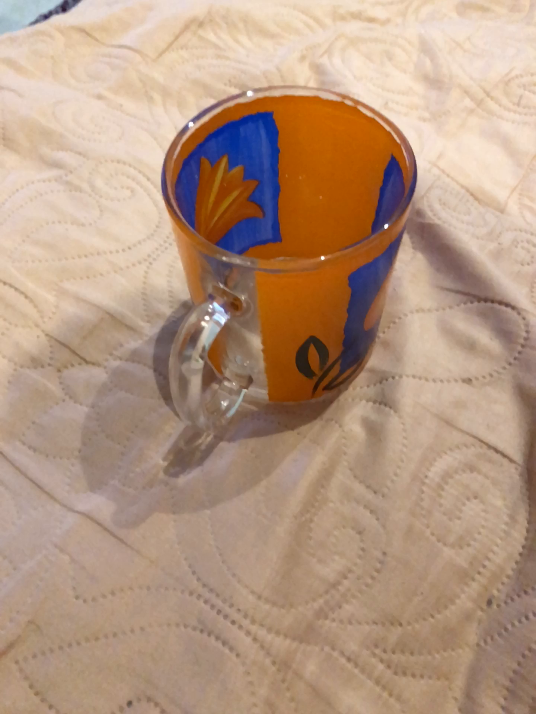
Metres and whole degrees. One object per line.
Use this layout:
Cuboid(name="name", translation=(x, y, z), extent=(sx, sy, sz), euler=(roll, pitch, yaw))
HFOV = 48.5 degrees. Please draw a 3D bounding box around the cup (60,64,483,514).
Cuboid(name="cup", translation=(0.007, -0.025, 0.215), extent=(0.080, 0.090, 0.110), euler=(27, 62, 18))
